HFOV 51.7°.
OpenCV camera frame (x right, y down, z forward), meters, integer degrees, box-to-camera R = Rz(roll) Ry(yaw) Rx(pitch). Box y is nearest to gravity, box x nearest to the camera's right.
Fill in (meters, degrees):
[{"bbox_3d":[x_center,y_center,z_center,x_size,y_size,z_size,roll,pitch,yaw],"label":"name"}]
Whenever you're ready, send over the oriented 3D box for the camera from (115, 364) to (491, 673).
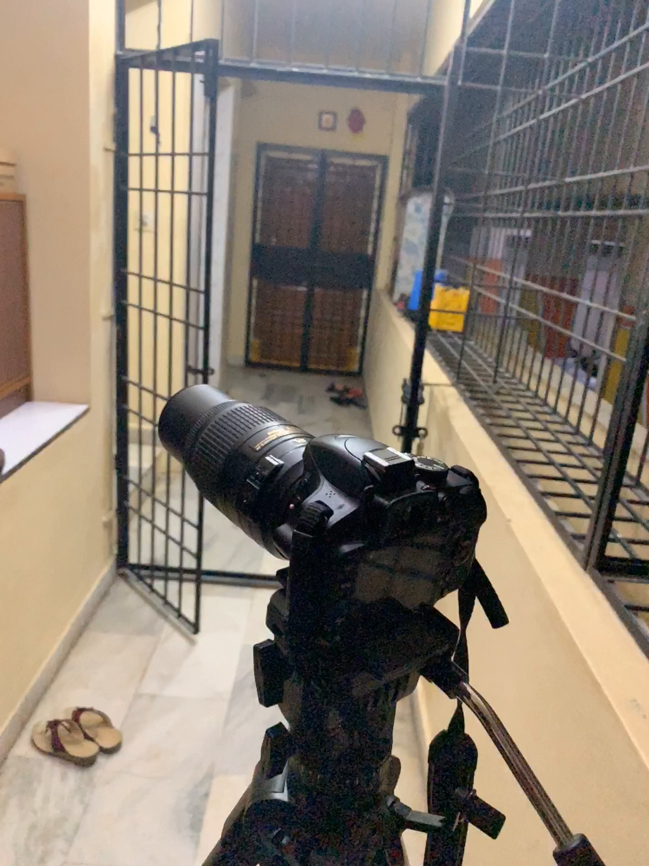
[{"bbox_3d":[-0.031,0.029,0.424,0.120,0.090,0.231,-8,22,-36],"label":"camera"}]
